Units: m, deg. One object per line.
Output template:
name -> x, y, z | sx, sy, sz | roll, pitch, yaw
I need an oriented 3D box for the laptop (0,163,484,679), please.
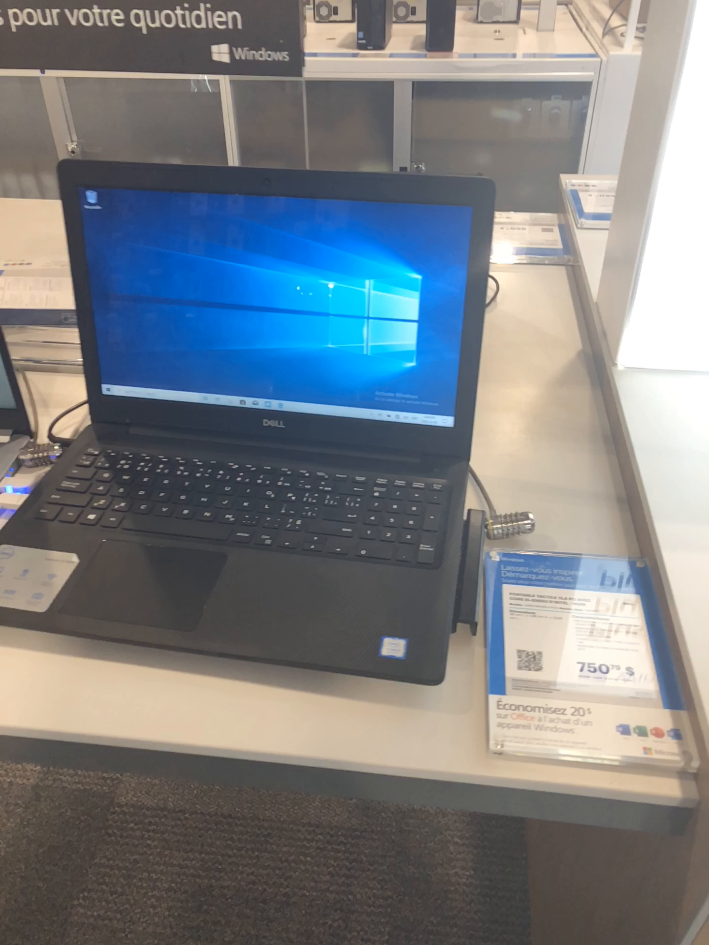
laptop -> -0.101, -0.066, 0.600 | 0.368, 0.230, 0.311 | 6, 38, 8
